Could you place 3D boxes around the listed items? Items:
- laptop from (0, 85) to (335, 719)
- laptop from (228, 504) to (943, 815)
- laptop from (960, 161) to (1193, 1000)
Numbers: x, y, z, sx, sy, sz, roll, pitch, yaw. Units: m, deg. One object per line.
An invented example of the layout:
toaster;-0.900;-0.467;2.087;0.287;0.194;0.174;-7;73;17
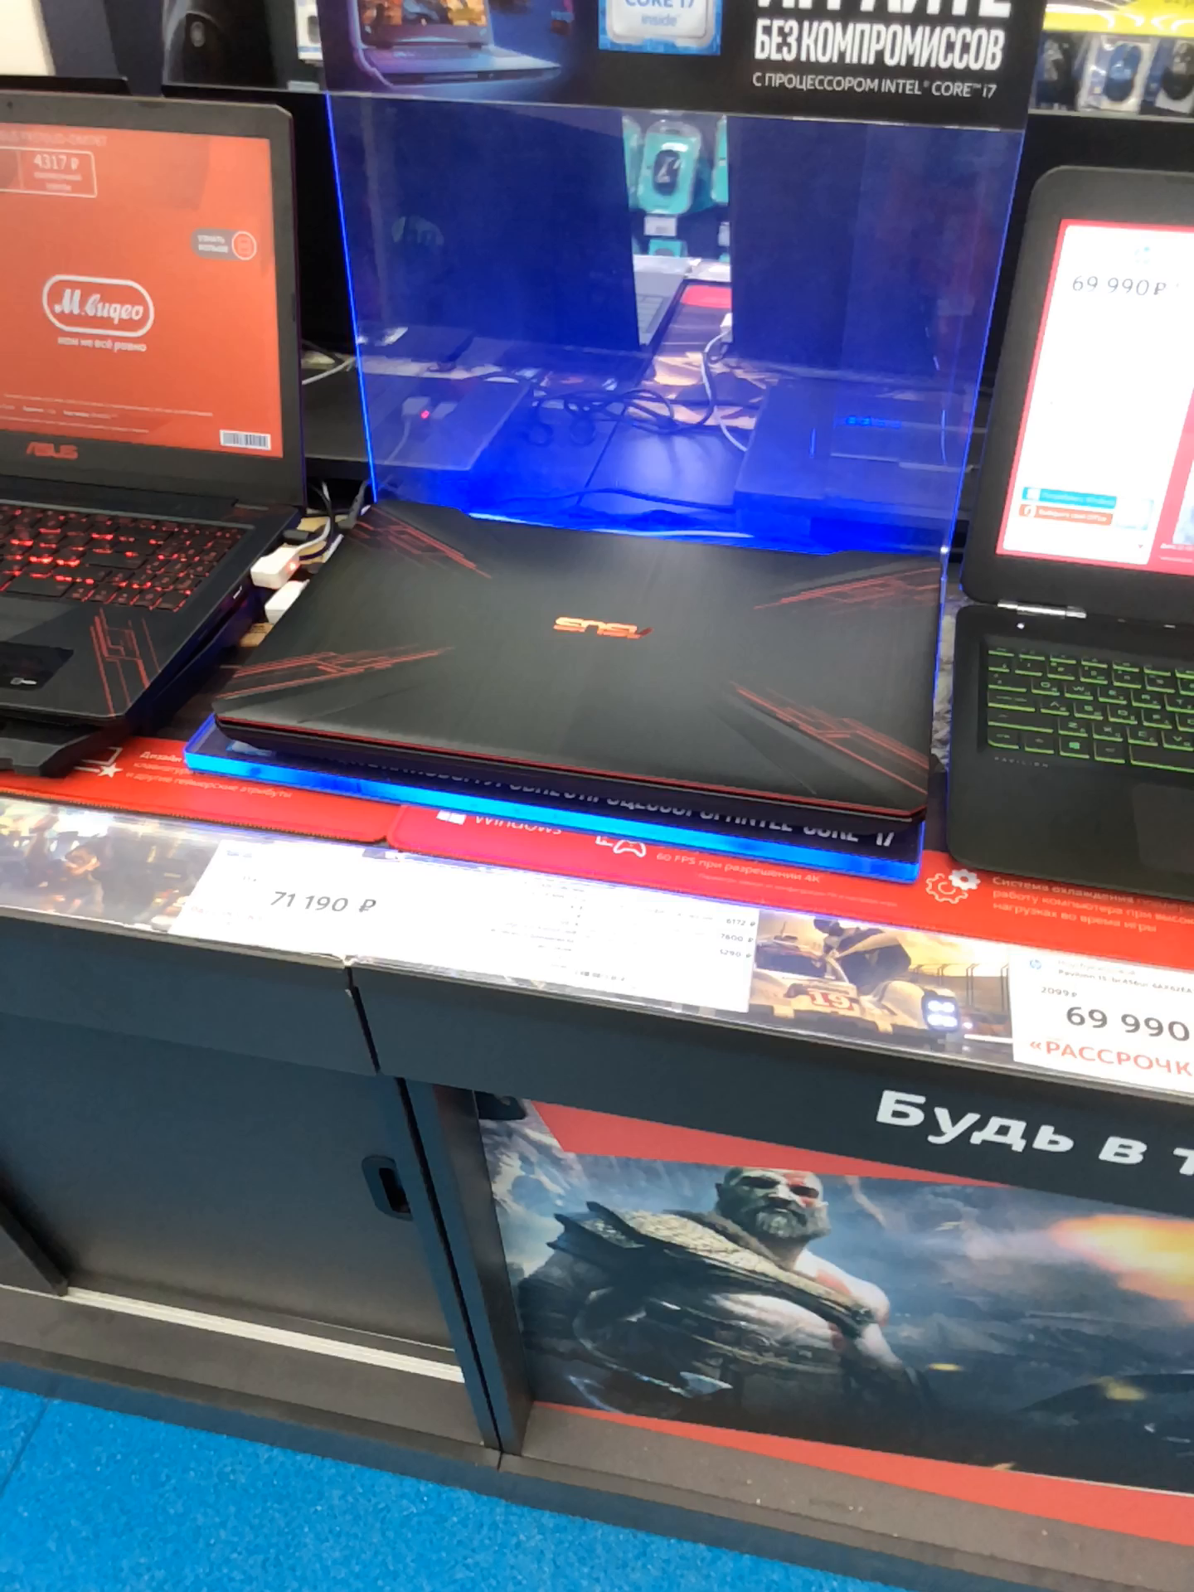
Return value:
laptop;-0.406;-0.255;0.779;0.390;0.231;0.320;7;39;9
laptop;0.009;-0.095;0.769;0.373;0.006;0.244;8;41;11
laptop;0.390;-0.128;0.645;0.374;0.242;0.293;8;41;10
